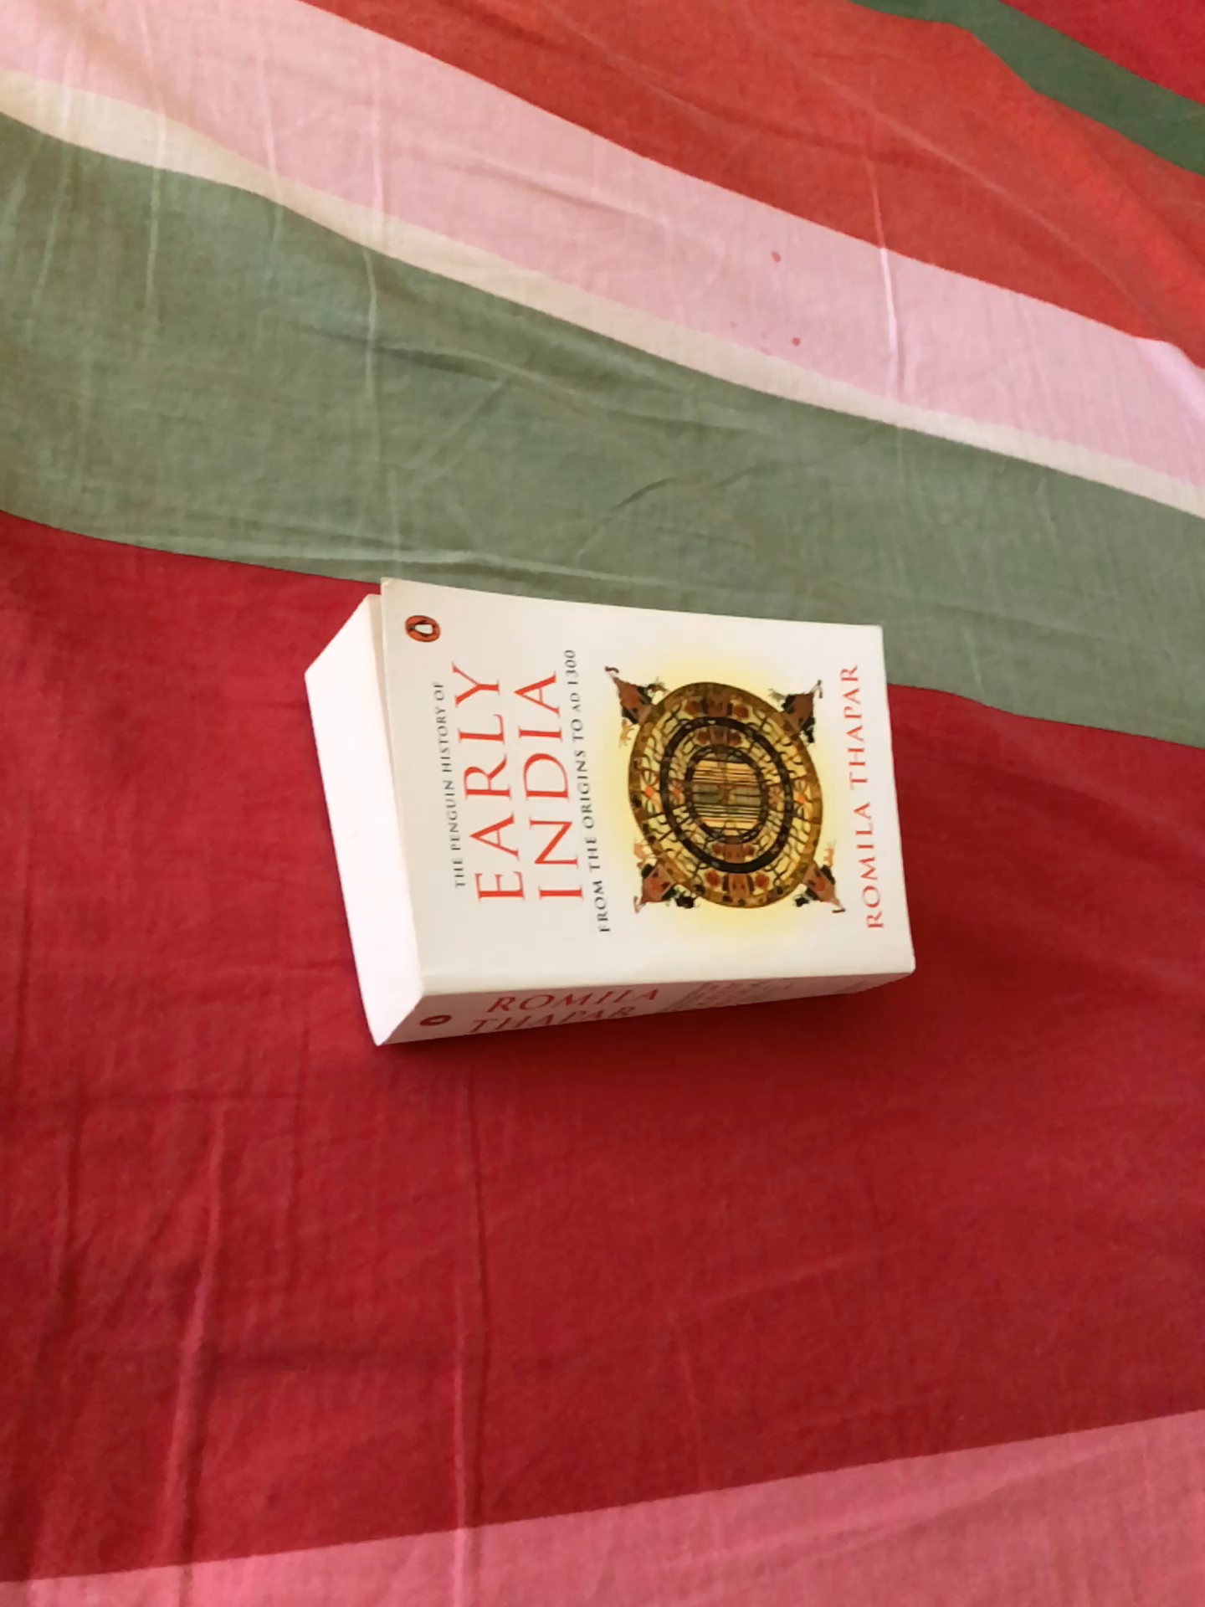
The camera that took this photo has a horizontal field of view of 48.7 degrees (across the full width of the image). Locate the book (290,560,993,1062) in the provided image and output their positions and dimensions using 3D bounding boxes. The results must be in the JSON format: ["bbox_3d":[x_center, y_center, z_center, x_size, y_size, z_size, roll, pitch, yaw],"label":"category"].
[{"bbox_3d":[0.017,0.003,0.428,0.201,0.070,0.120,0,67,-38],"label":"book"}]
